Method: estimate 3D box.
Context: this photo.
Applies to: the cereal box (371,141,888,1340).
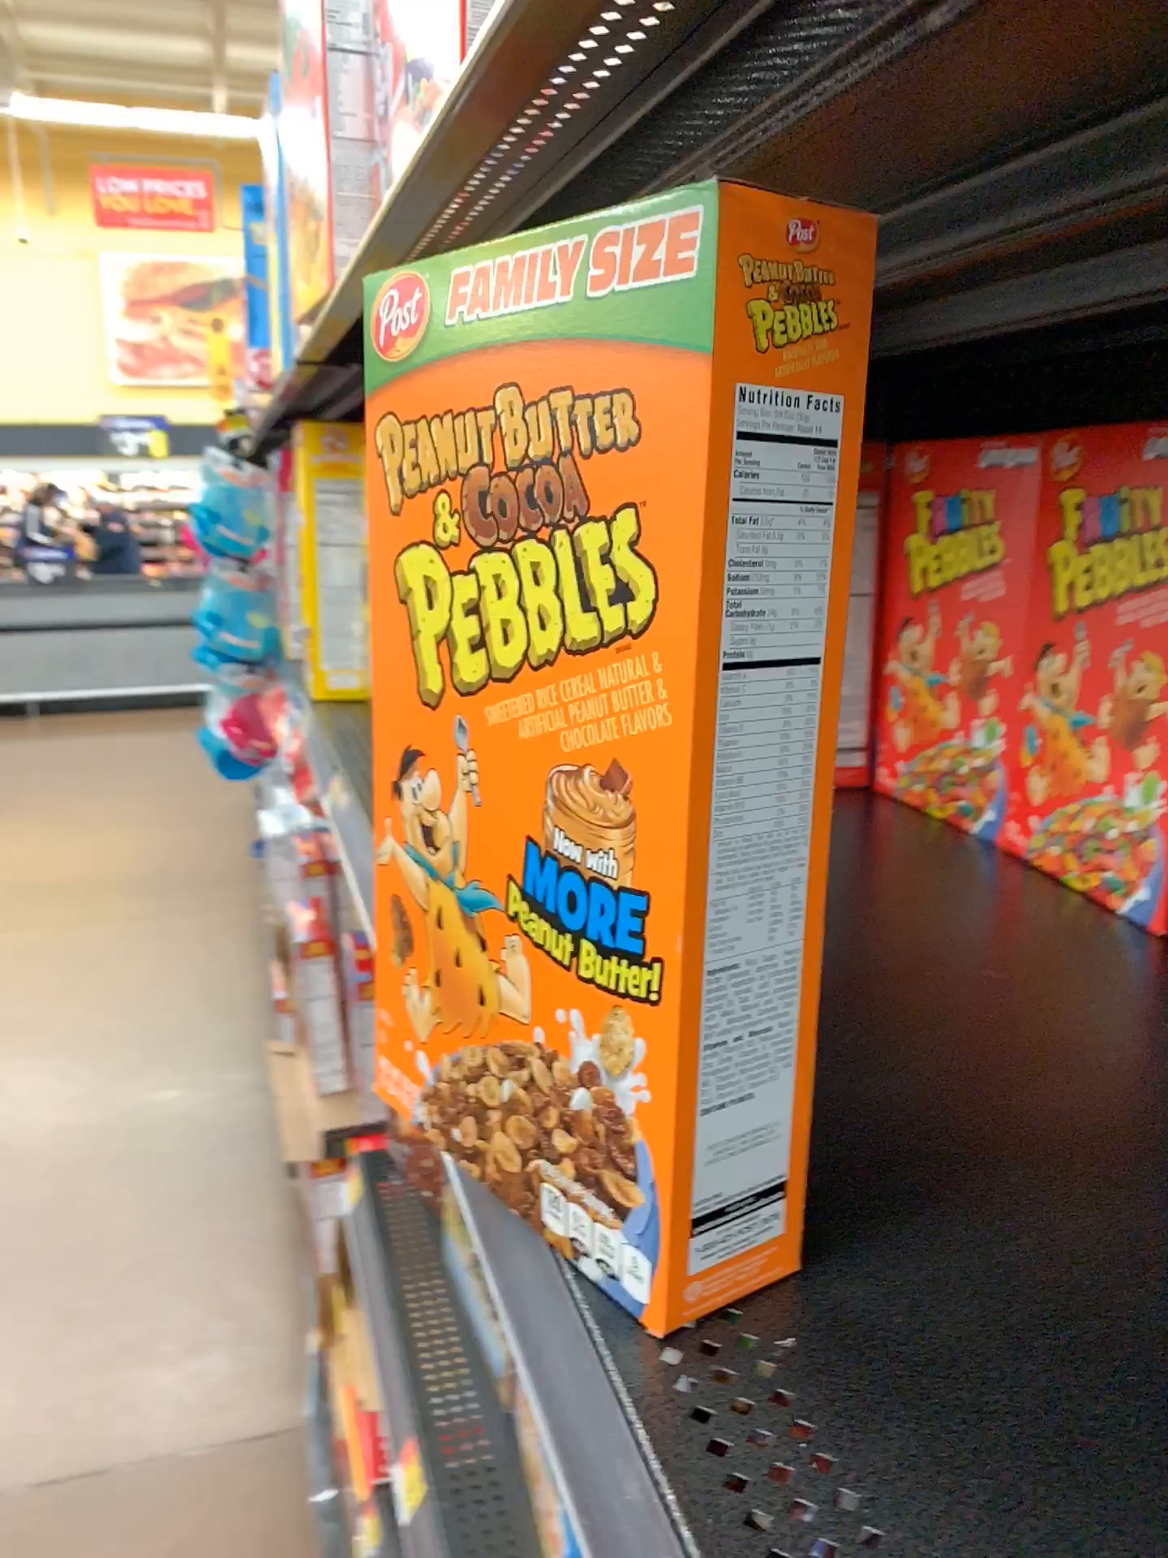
[{"bbox_3d":[-0.002,-0.016,0.433,0.060,0.339,0.200,-7,14,-36],"label":"cereal box"}]
